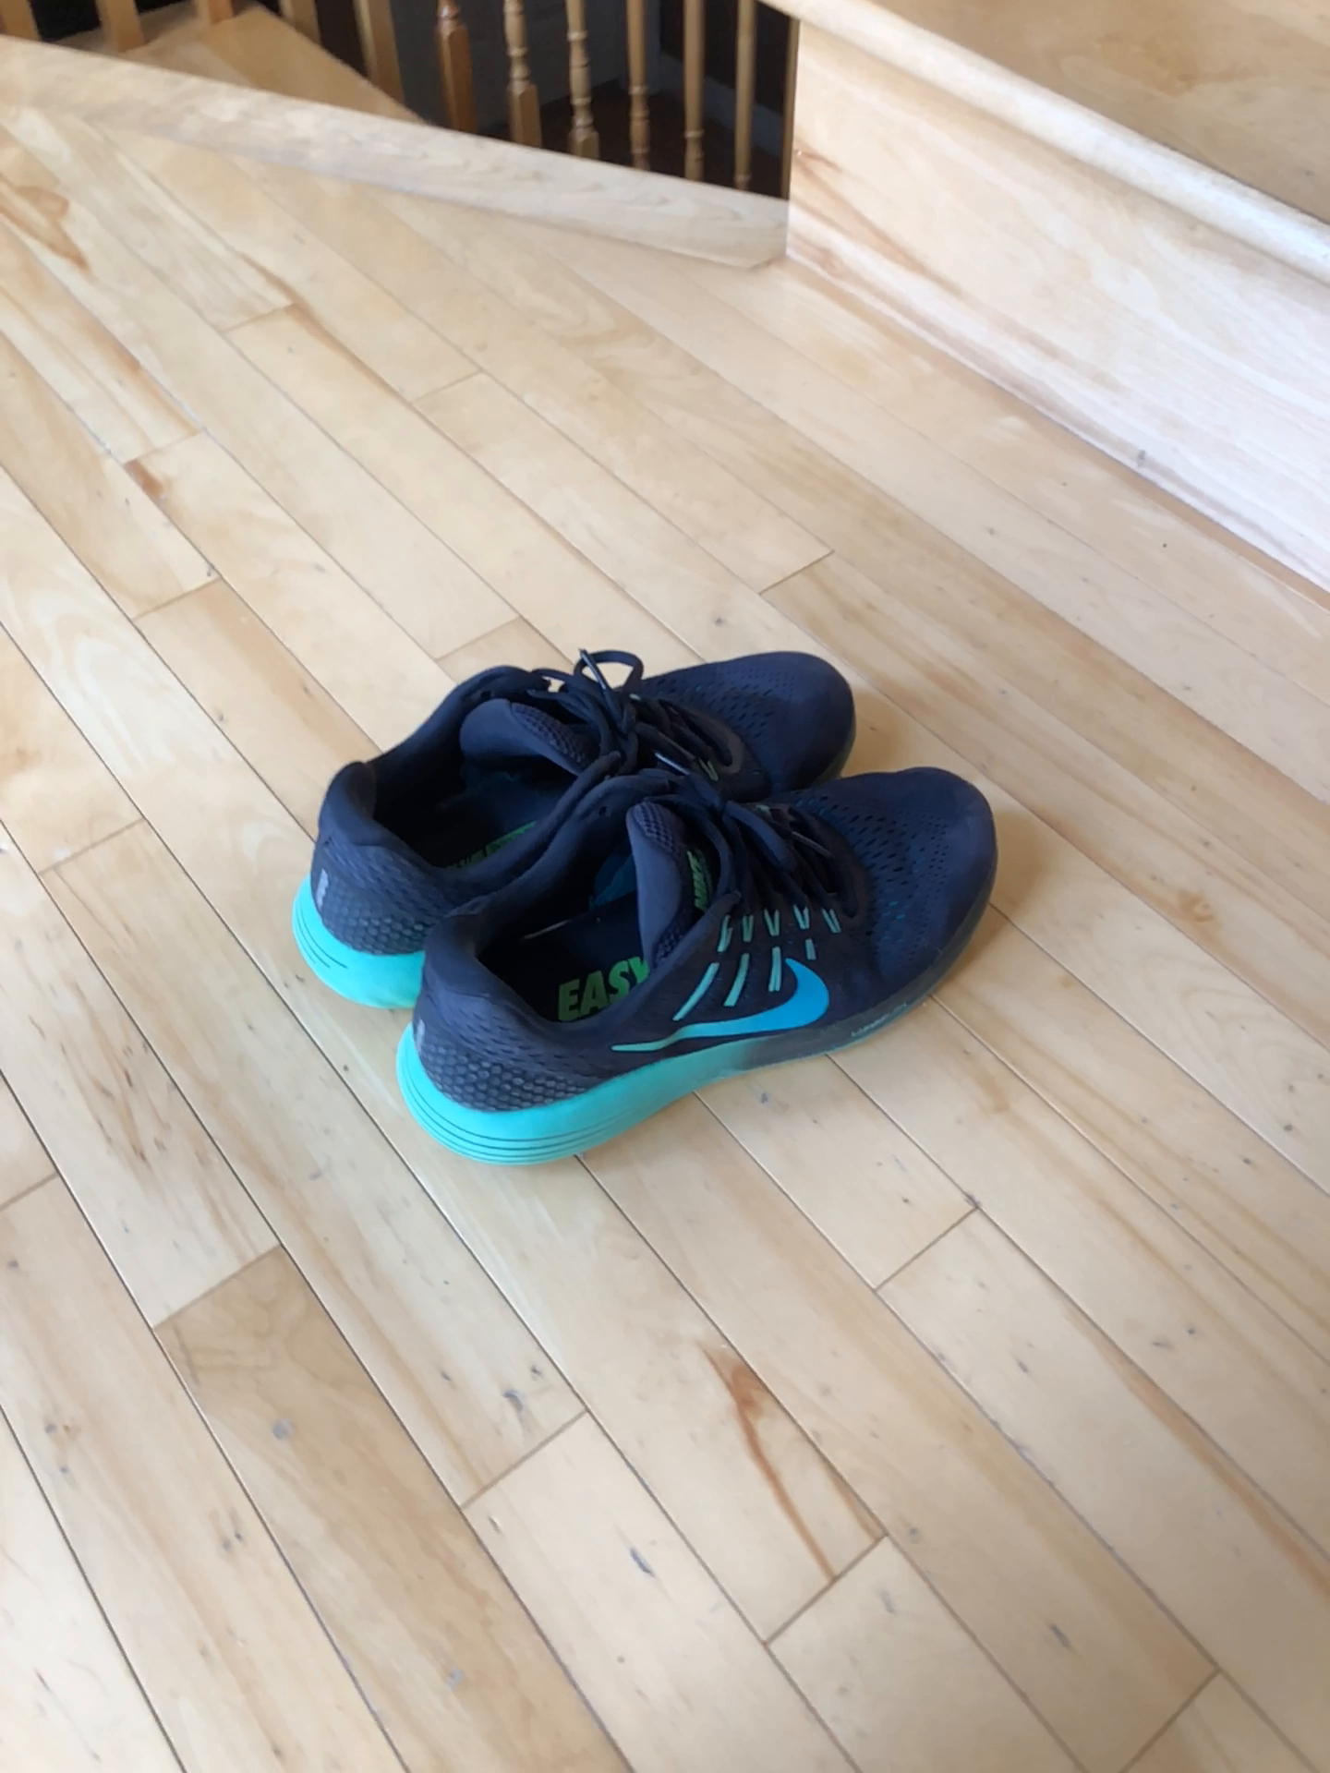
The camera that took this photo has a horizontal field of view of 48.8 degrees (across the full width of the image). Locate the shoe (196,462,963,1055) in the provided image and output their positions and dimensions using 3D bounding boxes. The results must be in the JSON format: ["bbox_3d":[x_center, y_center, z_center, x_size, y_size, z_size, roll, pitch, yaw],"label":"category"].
[{"bbox_3d":[-0.030,-0.063,0.634,0.290,0.100,0.120,-26,56,-18],"label":"shoe"}]

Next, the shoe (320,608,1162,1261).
[{"bbox_3d":[0.031,0.011,0.580,0.290,0.100,0.120,-24,55,-17],"label":"shoe"}]
